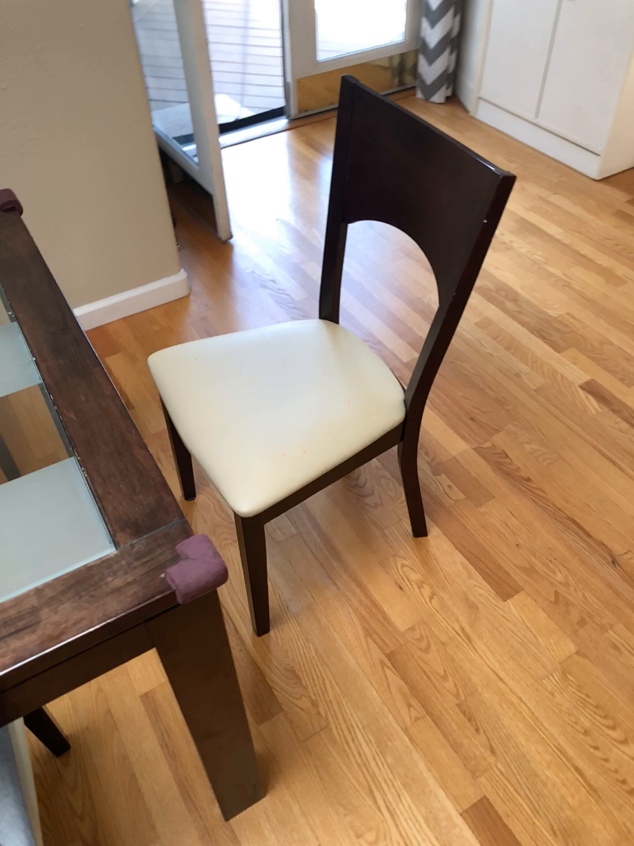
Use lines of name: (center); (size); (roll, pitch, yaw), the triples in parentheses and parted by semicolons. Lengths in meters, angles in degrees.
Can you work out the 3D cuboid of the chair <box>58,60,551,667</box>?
chair: (-0.038, -0.090, 1.445); (0.591, 0.994, 0.562); (-22, 48, -19)
